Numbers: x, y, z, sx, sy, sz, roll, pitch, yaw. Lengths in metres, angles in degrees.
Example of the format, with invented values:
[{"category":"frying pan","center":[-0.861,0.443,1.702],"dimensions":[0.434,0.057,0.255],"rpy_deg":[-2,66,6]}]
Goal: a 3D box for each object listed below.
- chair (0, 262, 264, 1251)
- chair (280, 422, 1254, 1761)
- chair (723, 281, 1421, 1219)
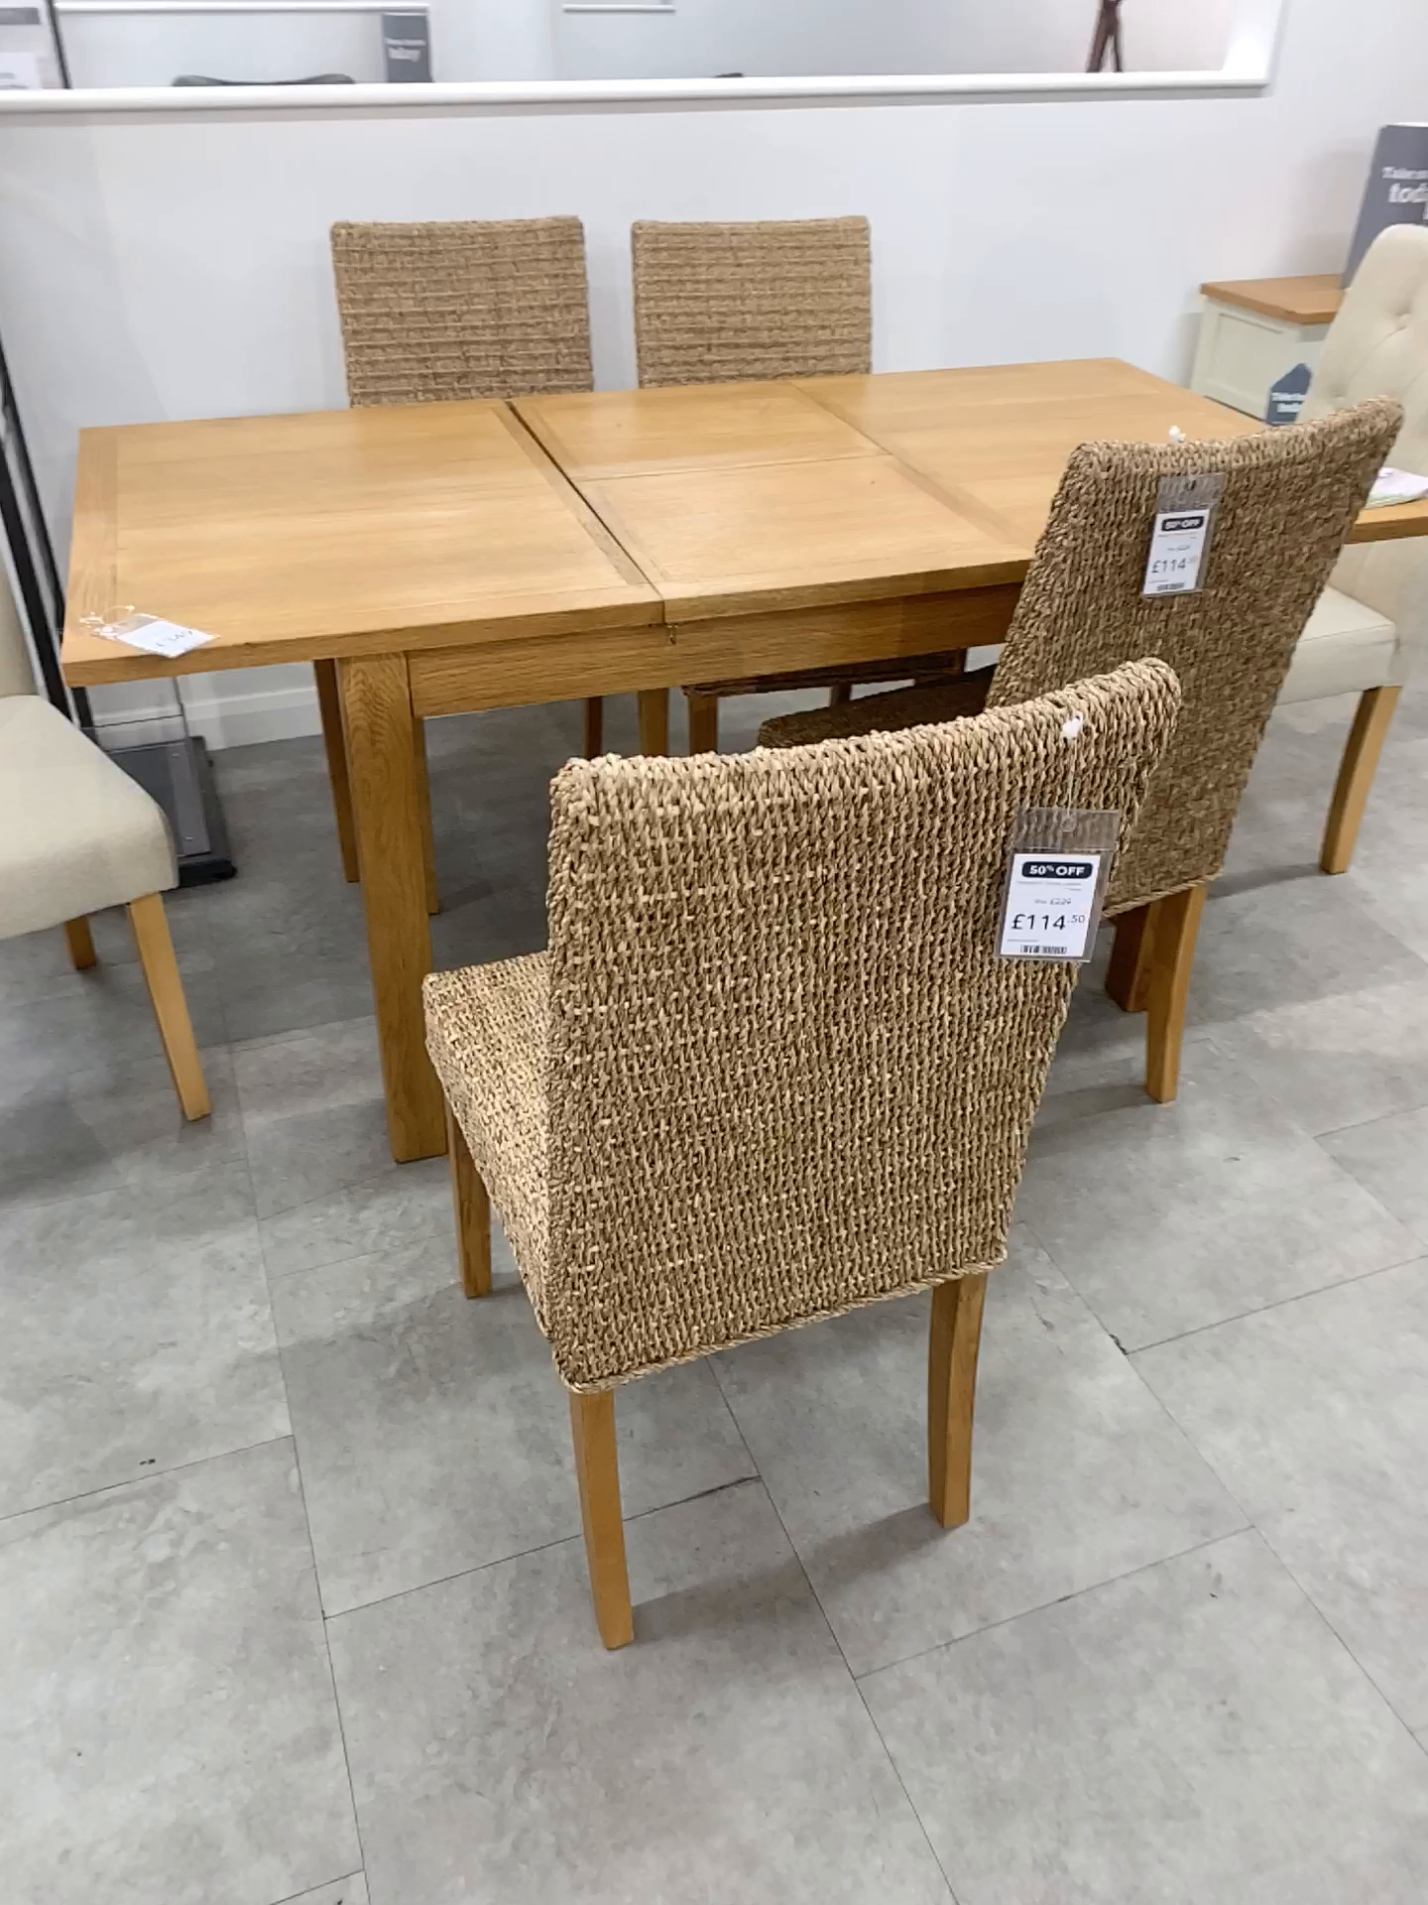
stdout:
[{"category":"chair","center":[-0.853,-0.226,1.634],"dimensions":[0.398,0.903,0.516],"rpy_deg":[-18,39,-26]},{"category":"chair","center":[-0.016,0.101,1.255],"dimensions":[0.488,0.903,0.567],"rpy_deg":[-12,36,-18]},{"category":"chair","center":[0.342,-0.256,1.743],"dimensions":[0.438,0.893,0.557],"rpy_deg":[-16,38,-23]}]
